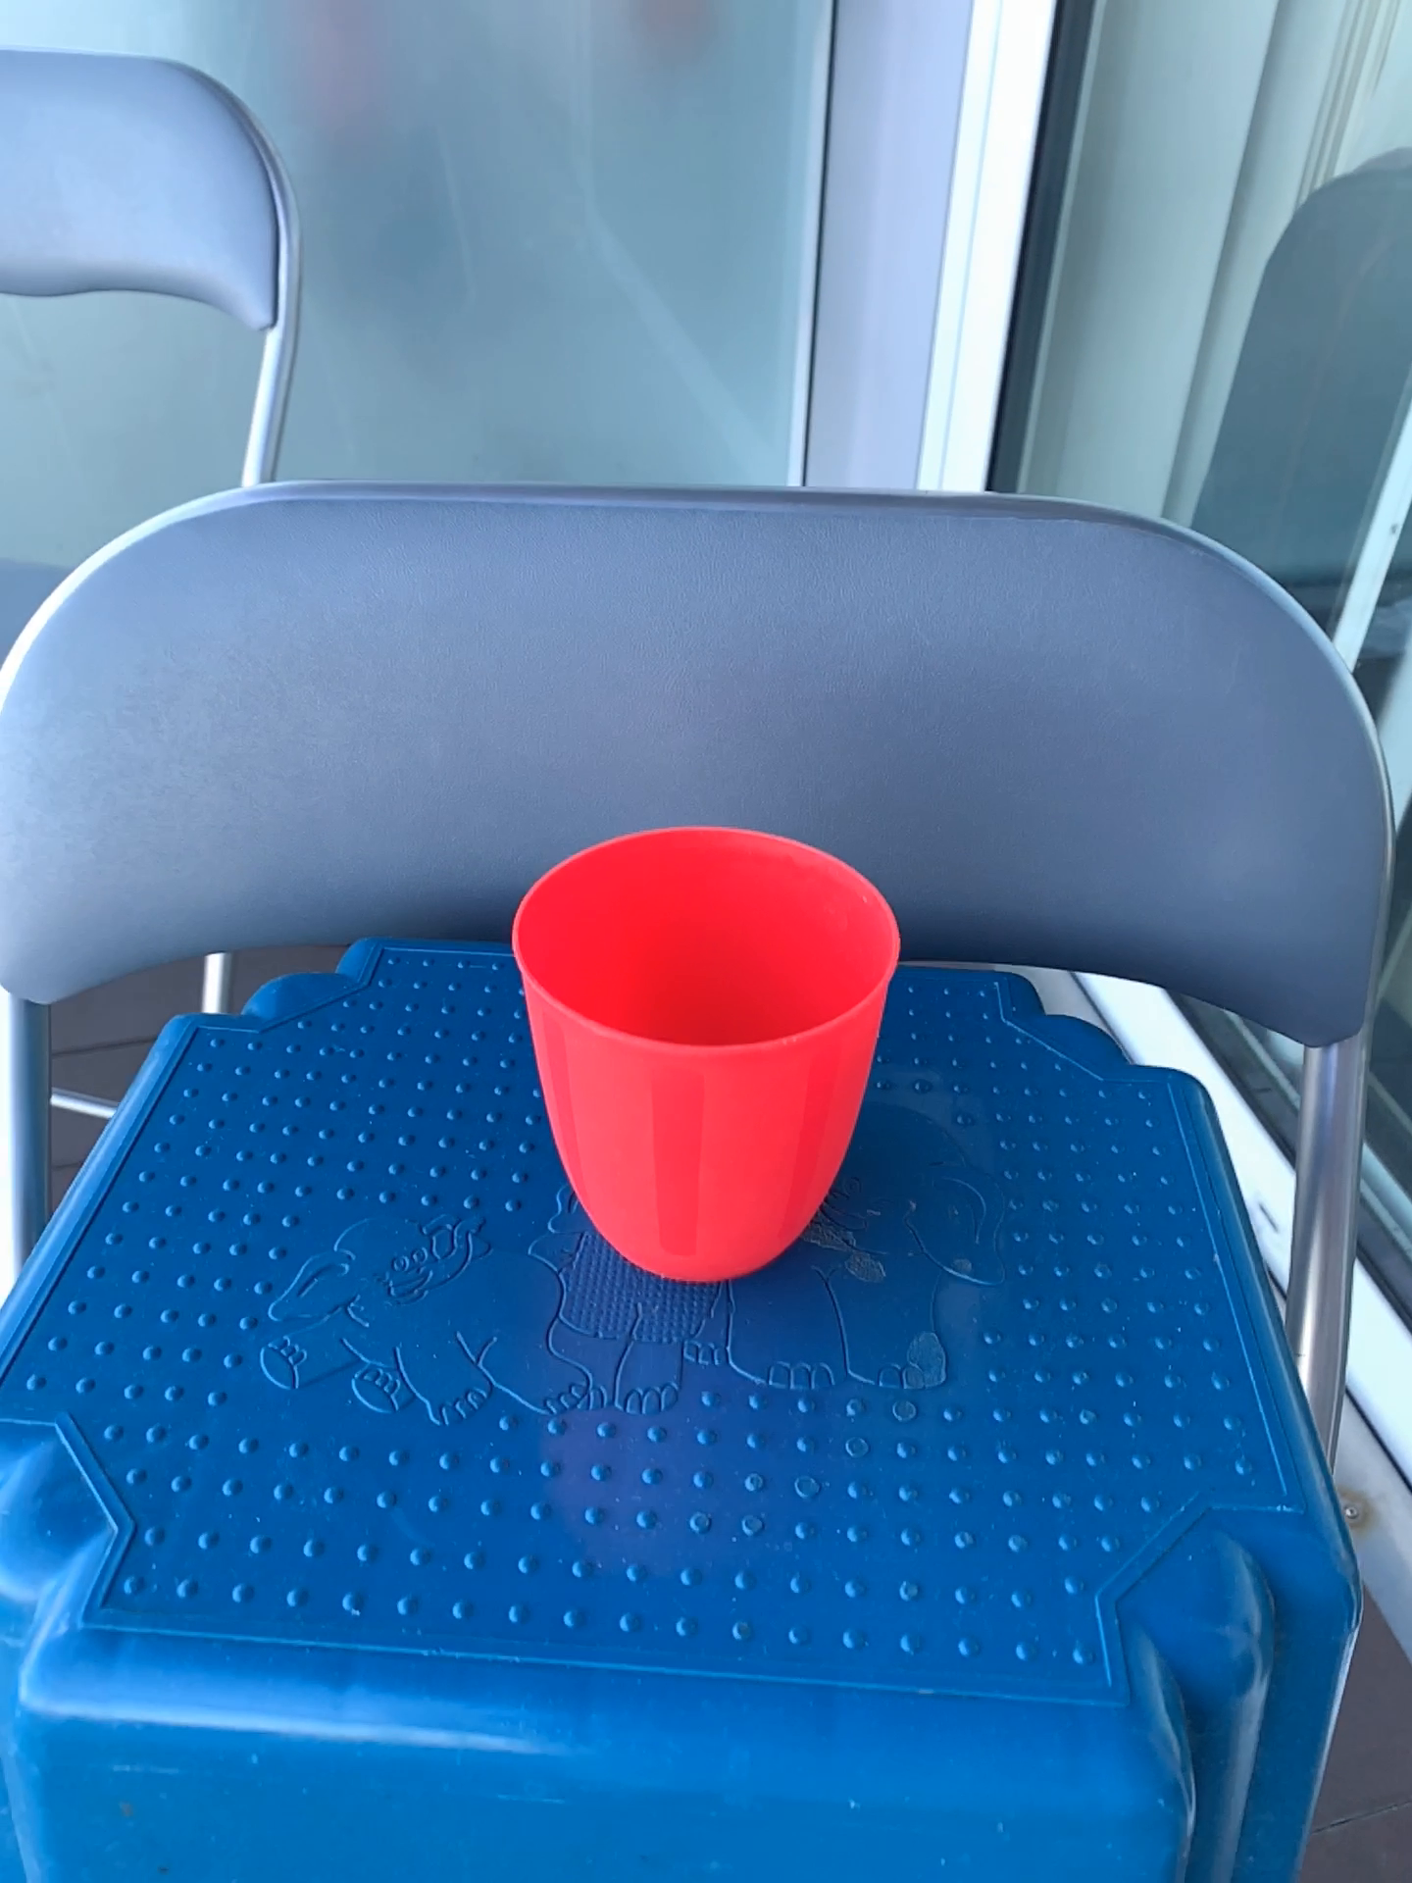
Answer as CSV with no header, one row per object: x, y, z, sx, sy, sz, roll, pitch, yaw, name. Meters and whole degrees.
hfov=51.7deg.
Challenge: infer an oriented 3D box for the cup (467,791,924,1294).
0.000,0.022,0.326,0.086,0.077,0.074,4,40,2,cup
